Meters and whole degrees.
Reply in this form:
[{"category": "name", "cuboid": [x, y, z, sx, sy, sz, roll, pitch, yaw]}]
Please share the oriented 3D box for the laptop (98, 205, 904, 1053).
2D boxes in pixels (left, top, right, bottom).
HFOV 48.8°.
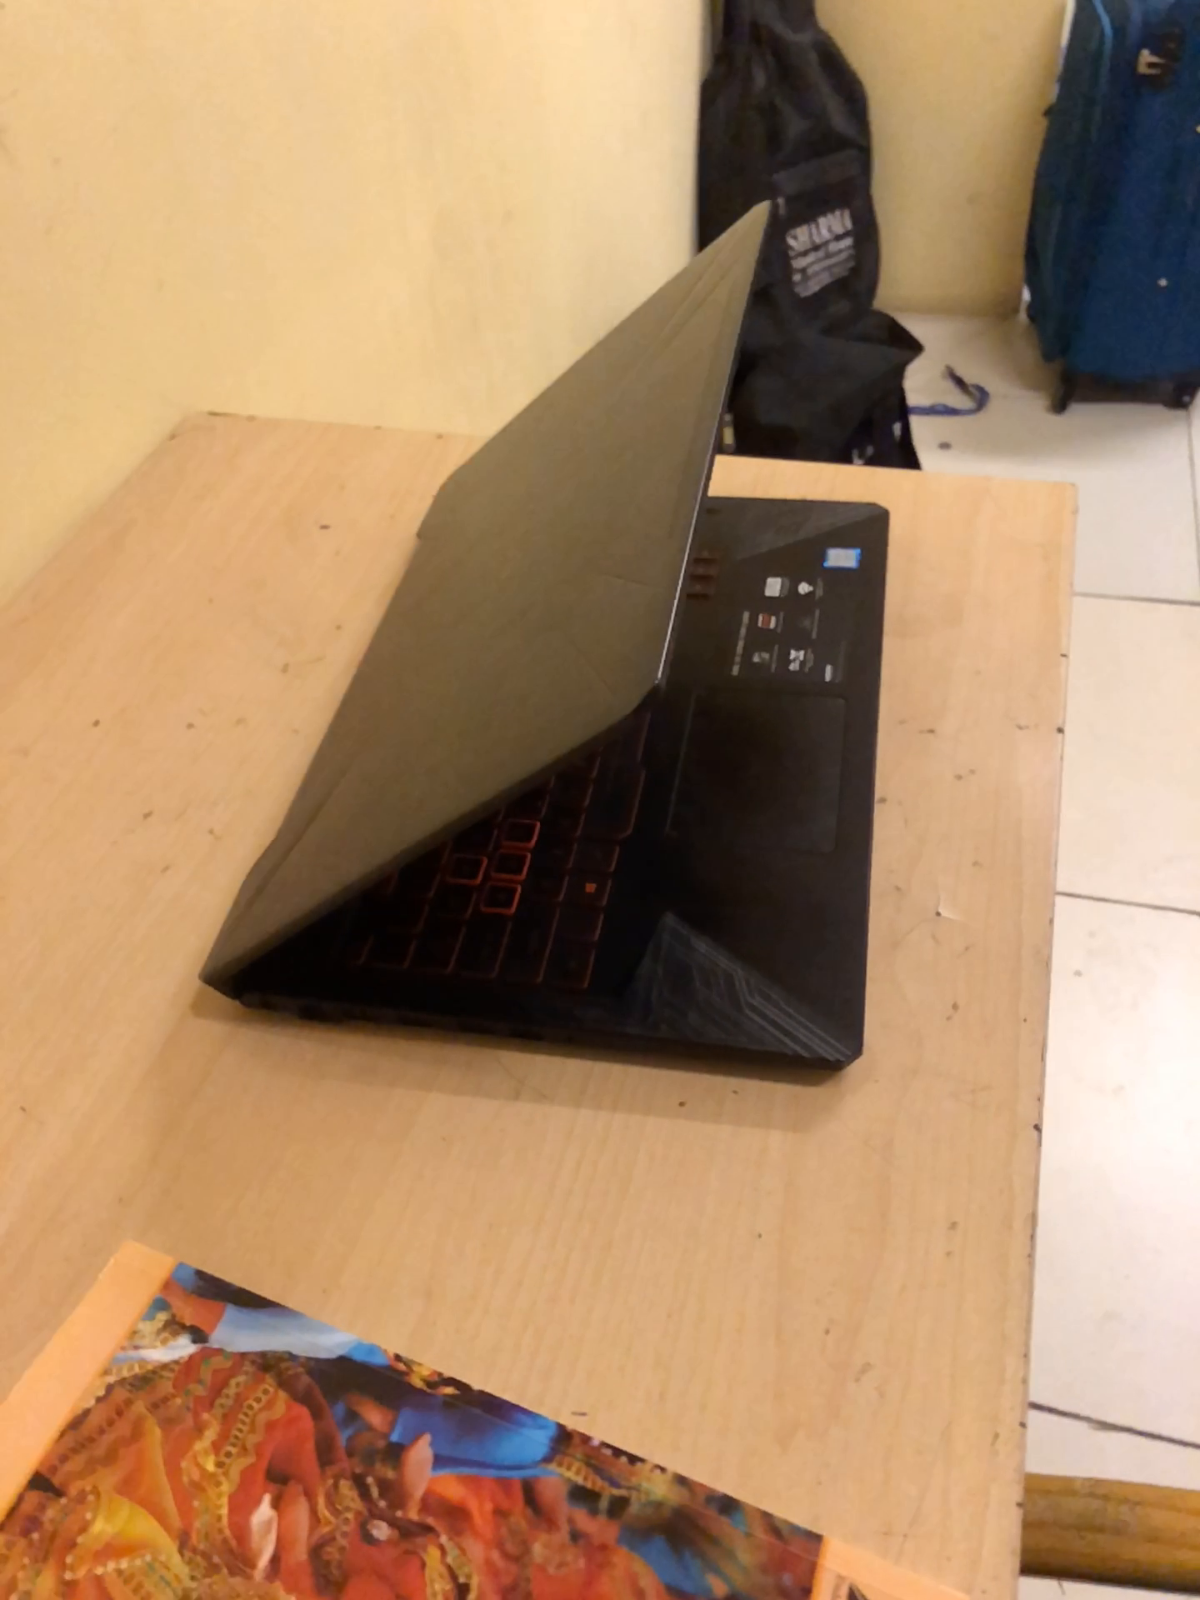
[{"category": "laptop", "cuboid": [-0.002, -0.104, 0.597, 0.252, 0.173, 0.371, 4, 45, 10]}]
